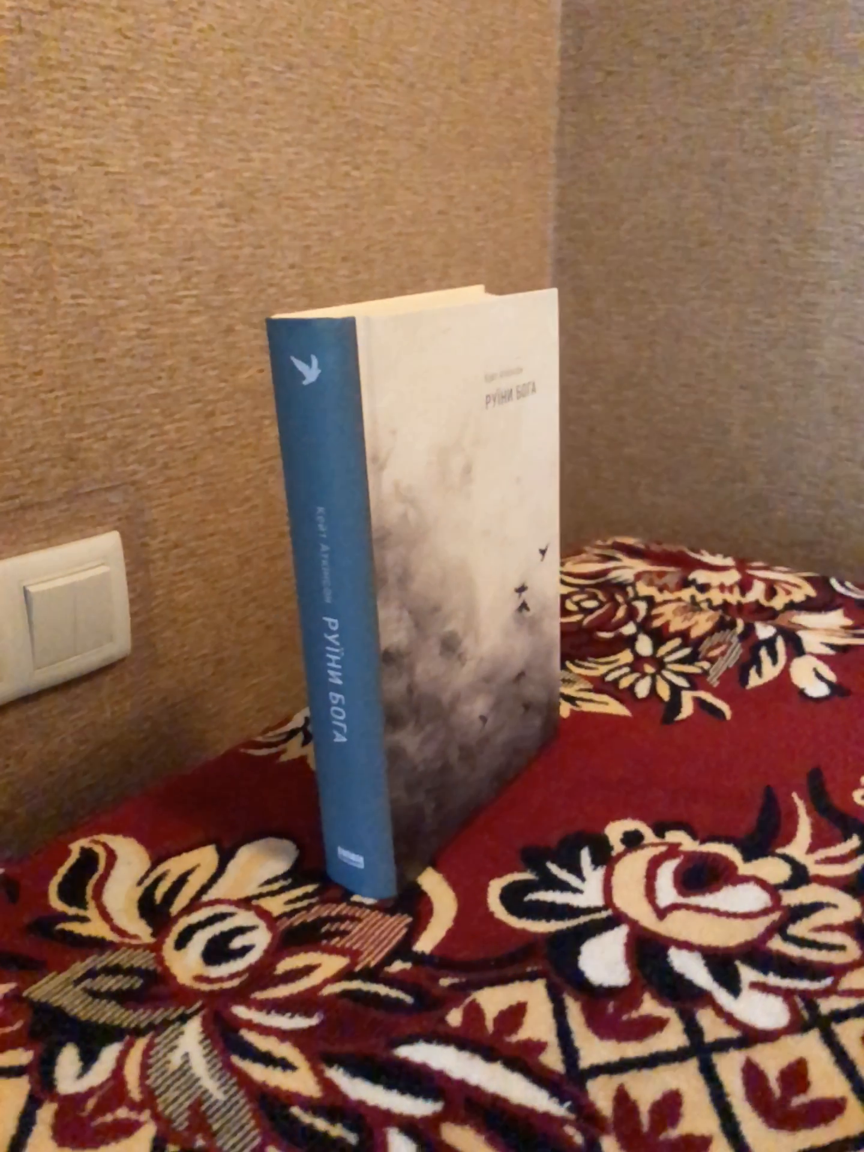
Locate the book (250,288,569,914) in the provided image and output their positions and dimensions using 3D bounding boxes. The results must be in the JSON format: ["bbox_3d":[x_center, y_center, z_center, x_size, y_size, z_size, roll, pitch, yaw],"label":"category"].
[{"bbox_3d":[0.004,-0.002,0.382,0.040,0.210,0.151,9,21,32],"label":"book"}]
